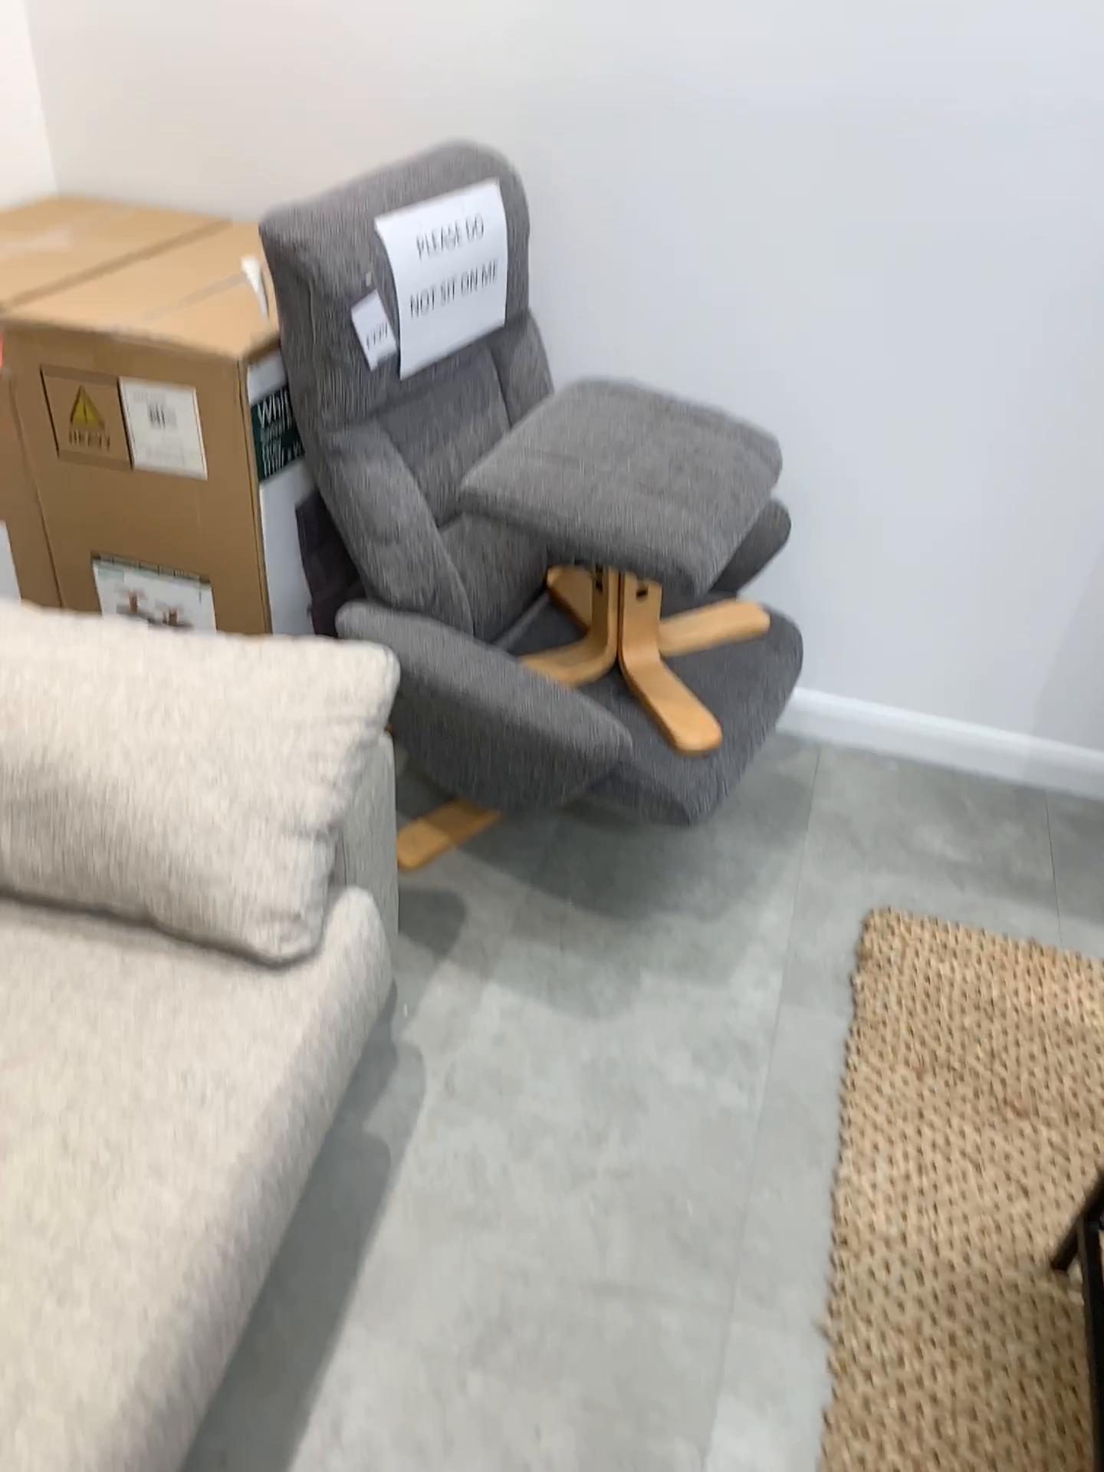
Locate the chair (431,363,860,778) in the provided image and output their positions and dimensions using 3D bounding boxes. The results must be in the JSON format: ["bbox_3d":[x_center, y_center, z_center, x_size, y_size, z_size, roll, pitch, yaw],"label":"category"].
[{"bbox_3d":[0.144,-0.278,1.691,0.480,0.351,0.486,16,37,16],"label":"chair"}]

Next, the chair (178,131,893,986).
[{"bbox_3d":[0.005,-0.309,1.740,0.720,0.974,0.708,16,37,15],"label":"chair"}]
